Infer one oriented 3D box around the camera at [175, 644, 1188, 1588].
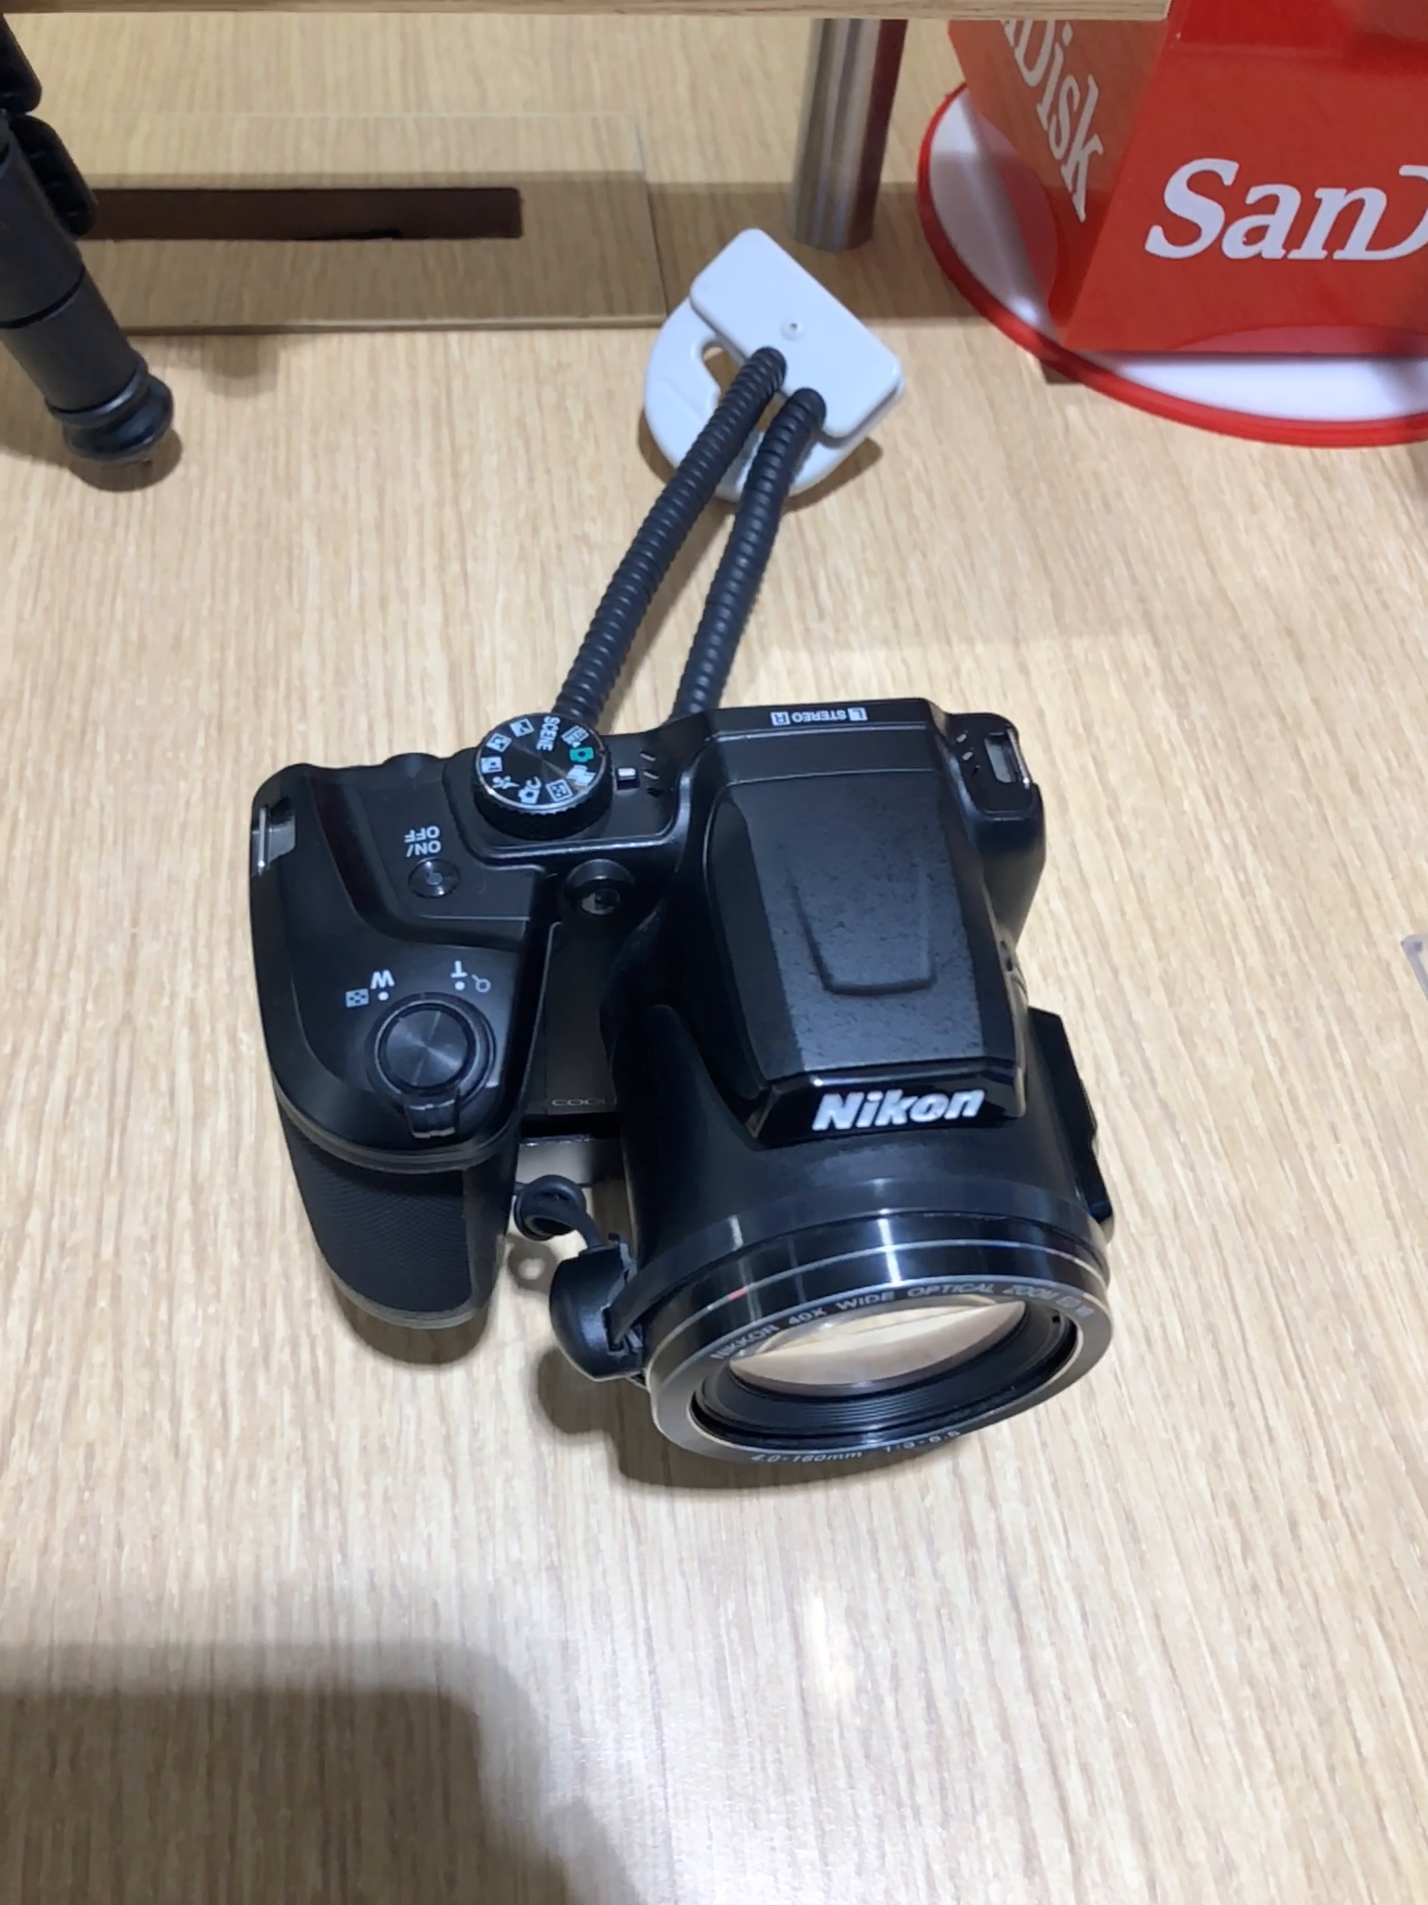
[{"bbox_3d":[-0.011,0.021,0.213,0.103,0.070,0.093,-6,58,-9],"label":"camera"}]
